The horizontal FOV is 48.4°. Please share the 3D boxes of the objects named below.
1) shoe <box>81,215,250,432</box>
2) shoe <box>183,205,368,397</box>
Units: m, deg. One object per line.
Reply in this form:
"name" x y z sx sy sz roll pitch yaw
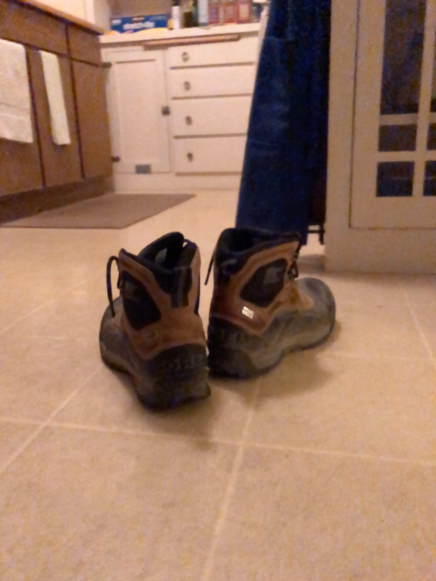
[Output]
"shoe" -0.085 0.016 0.652 0.122 0.185 0.300 -10 19 -23
"shoe" 0.097 -0.007 0.702 0.113 0.185 0.293 12 22 38
